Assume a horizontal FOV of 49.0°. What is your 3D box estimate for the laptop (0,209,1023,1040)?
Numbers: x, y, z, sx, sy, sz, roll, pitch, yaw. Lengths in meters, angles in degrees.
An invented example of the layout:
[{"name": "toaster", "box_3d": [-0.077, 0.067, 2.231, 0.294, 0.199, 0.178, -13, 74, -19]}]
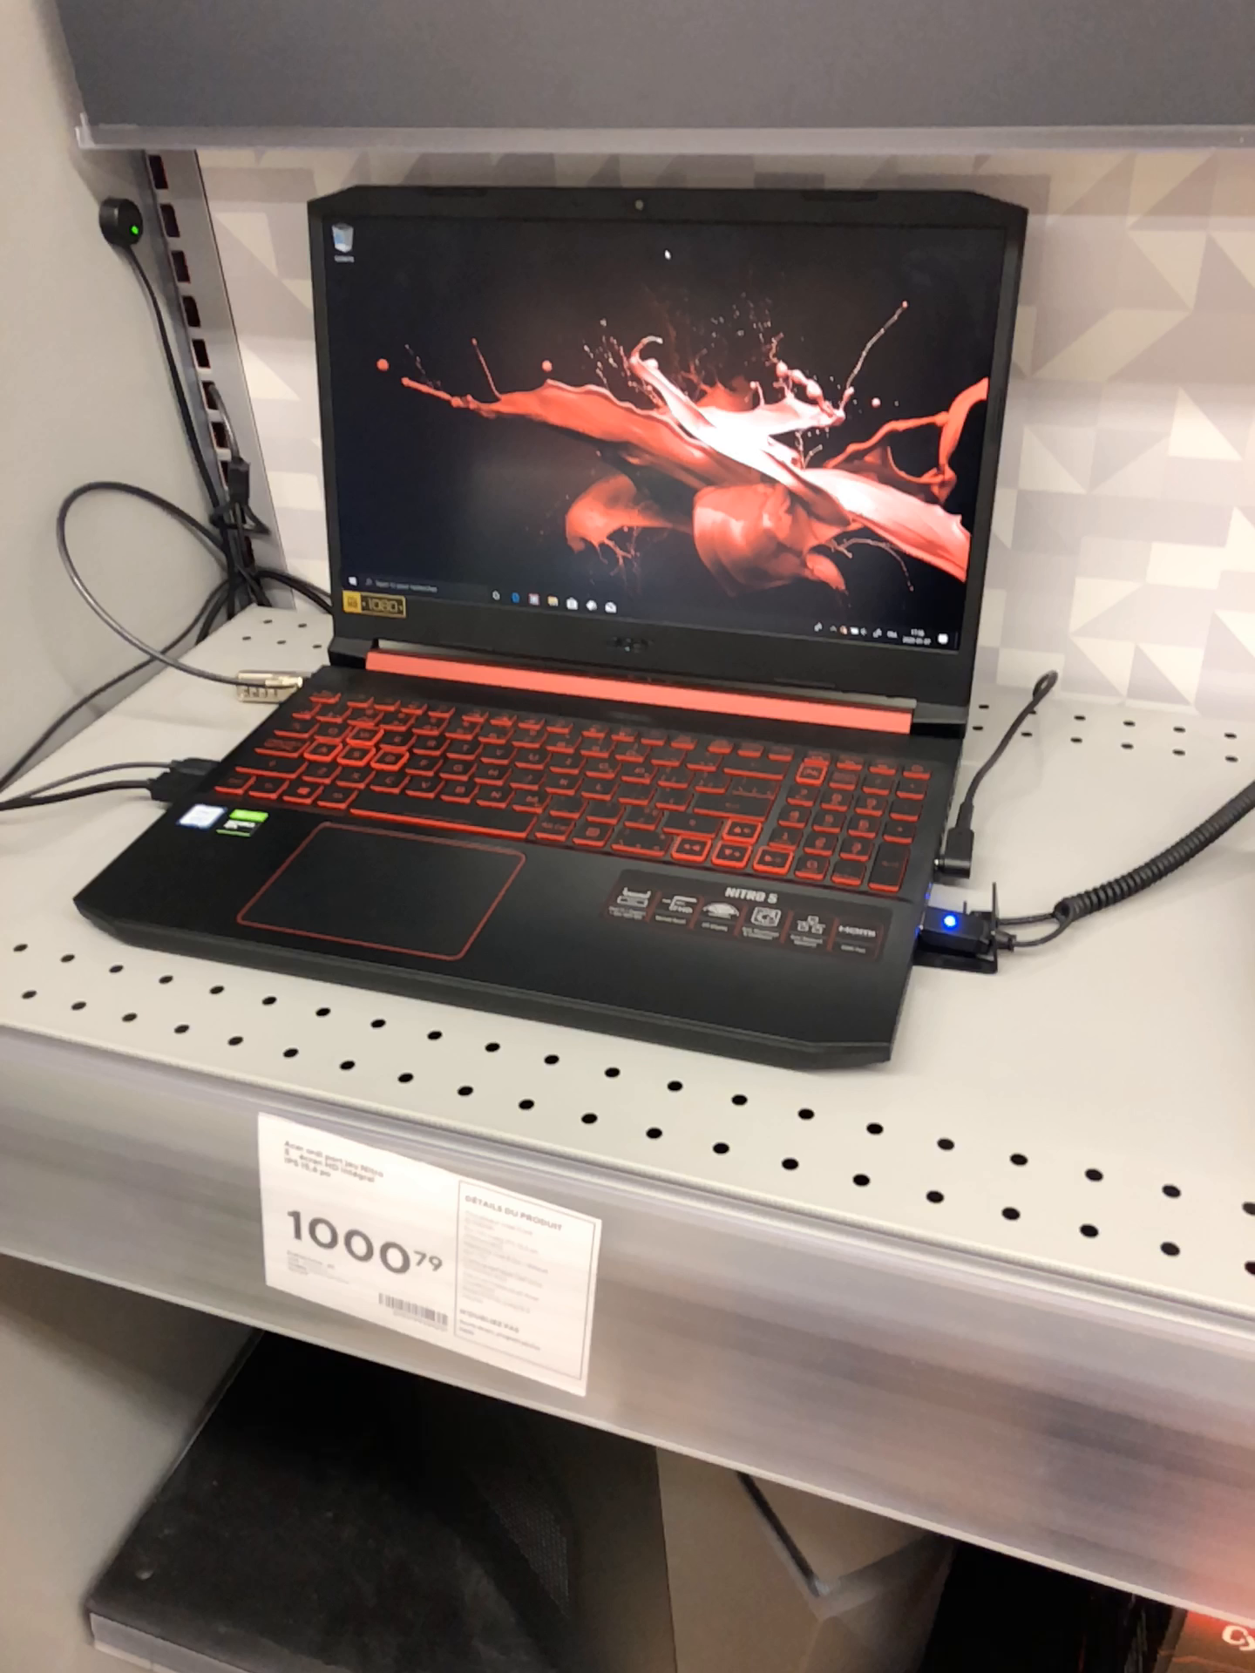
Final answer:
[{"name": "laptop", "box_3d": [-0.034, -0.122, 0.619, 0.362, 0.241, 0.282, 8, 36, 15]}]
